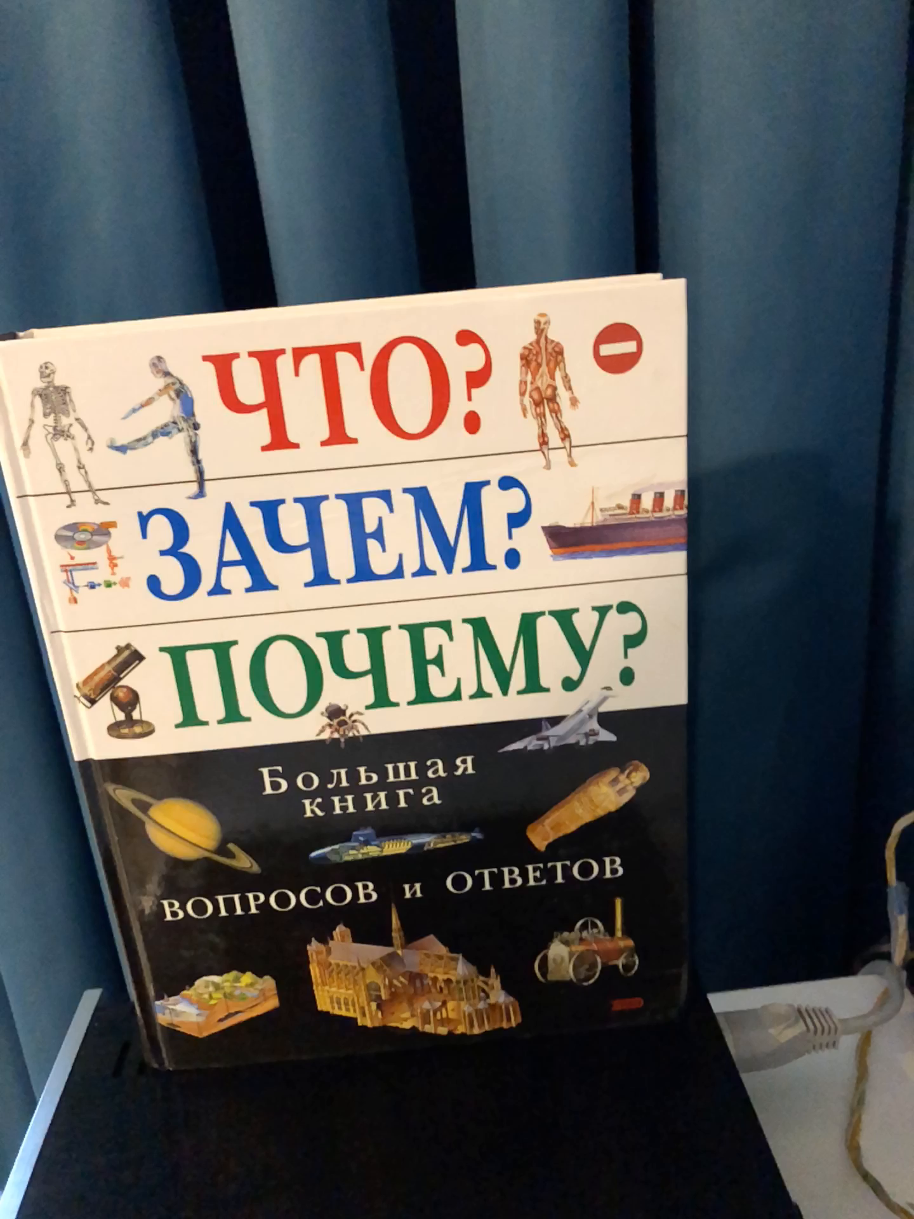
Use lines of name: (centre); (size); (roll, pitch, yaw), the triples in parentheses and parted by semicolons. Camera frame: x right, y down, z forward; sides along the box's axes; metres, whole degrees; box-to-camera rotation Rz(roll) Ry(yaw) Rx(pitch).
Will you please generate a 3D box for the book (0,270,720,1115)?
book: (-0.022, 0.045, 0.371); (0.224, 0.301, 0.042); (-6, 21, -1)
